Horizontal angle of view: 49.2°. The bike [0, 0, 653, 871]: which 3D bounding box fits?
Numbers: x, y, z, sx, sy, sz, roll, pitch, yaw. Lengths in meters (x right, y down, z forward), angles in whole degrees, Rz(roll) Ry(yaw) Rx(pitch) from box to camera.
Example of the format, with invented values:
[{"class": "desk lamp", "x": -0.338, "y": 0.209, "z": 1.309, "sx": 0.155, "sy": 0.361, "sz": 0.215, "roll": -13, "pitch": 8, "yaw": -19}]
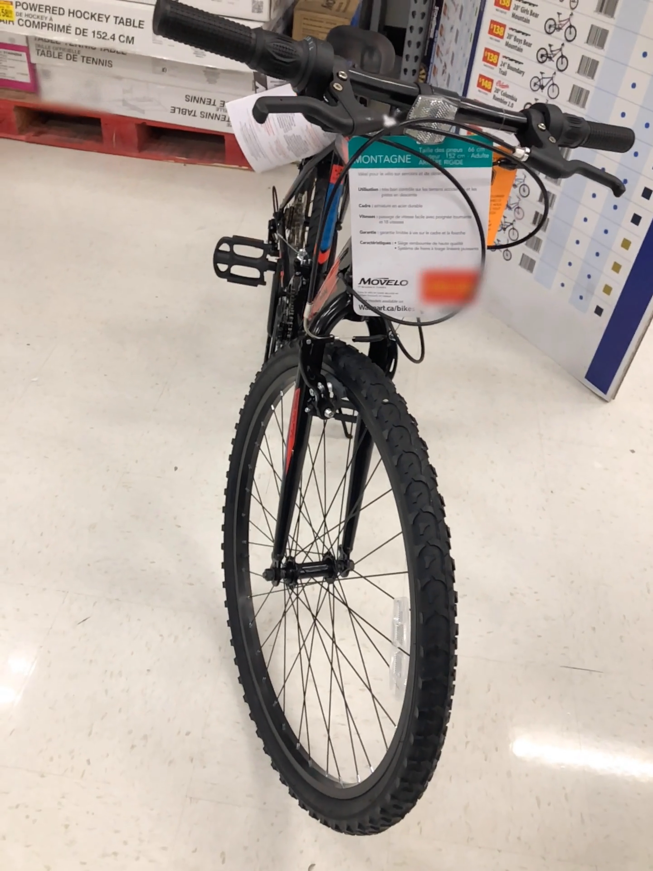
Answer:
[{"class": "bike", "x": 0.014, "y": -0.189, "z": 1.091, "sx": 0.559, "sy": 0.942, "sz": 1.293, "roll": 2, "pitch": 42, "yaw": -5}]
